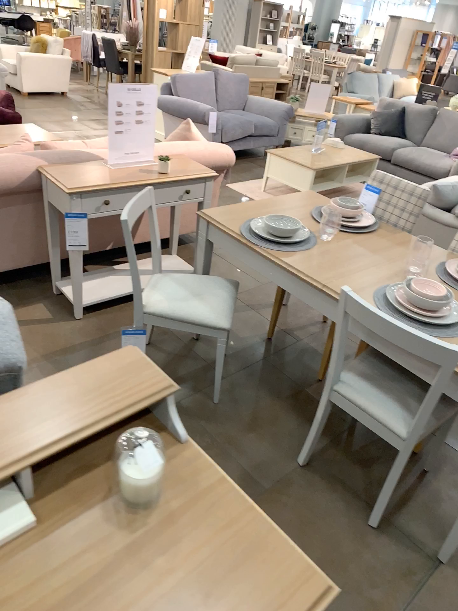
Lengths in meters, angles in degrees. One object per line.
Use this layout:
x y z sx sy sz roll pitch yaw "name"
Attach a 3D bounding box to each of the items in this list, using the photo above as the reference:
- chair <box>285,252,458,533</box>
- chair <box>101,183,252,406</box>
0.625 0.308 1.775 0.537 0.817 0.432 -21 42 -39 "chair"
-0.236 -0.049 2.111 0.534 0.817 0.465 9 31 1 "chair"
